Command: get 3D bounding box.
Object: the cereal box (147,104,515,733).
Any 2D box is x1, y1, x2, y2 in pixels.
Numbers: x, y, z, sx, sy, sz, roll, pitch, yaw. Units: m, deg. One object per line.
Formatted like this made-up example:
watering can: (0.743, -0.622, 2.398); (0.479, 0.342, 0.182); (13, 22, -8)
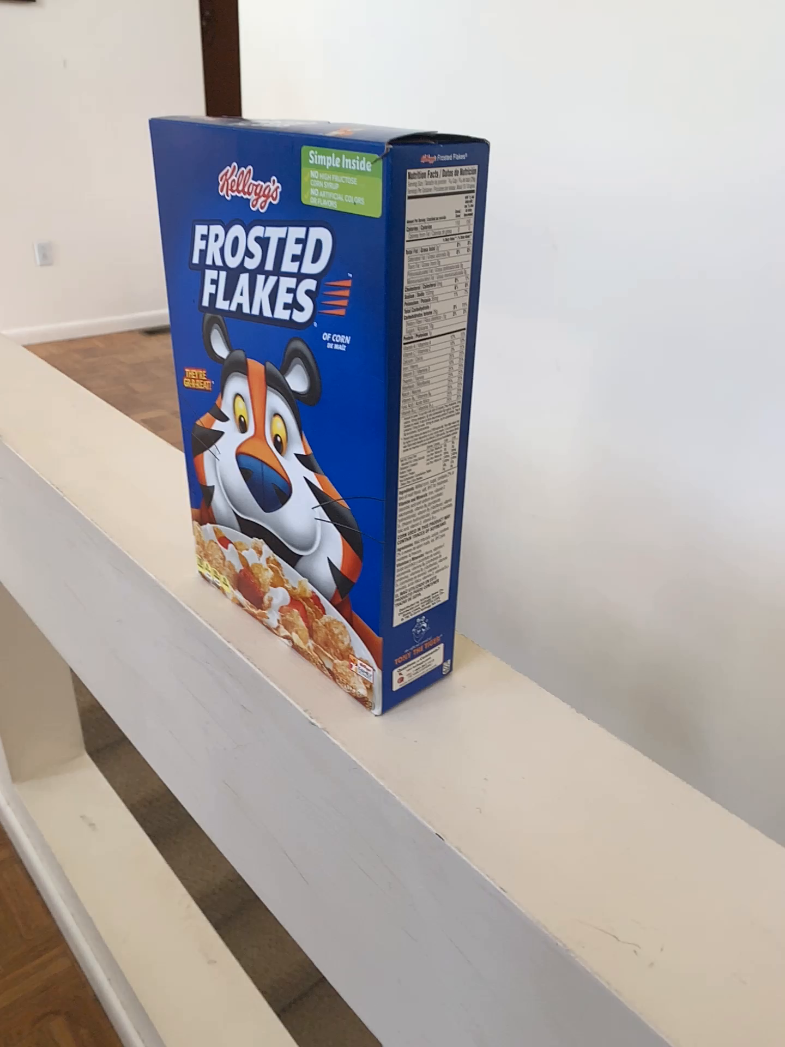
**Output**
cereal box: (-0.042, -0.063, 0.440); (0.060, 0.288, 0.201); (-22, 37, -36)
